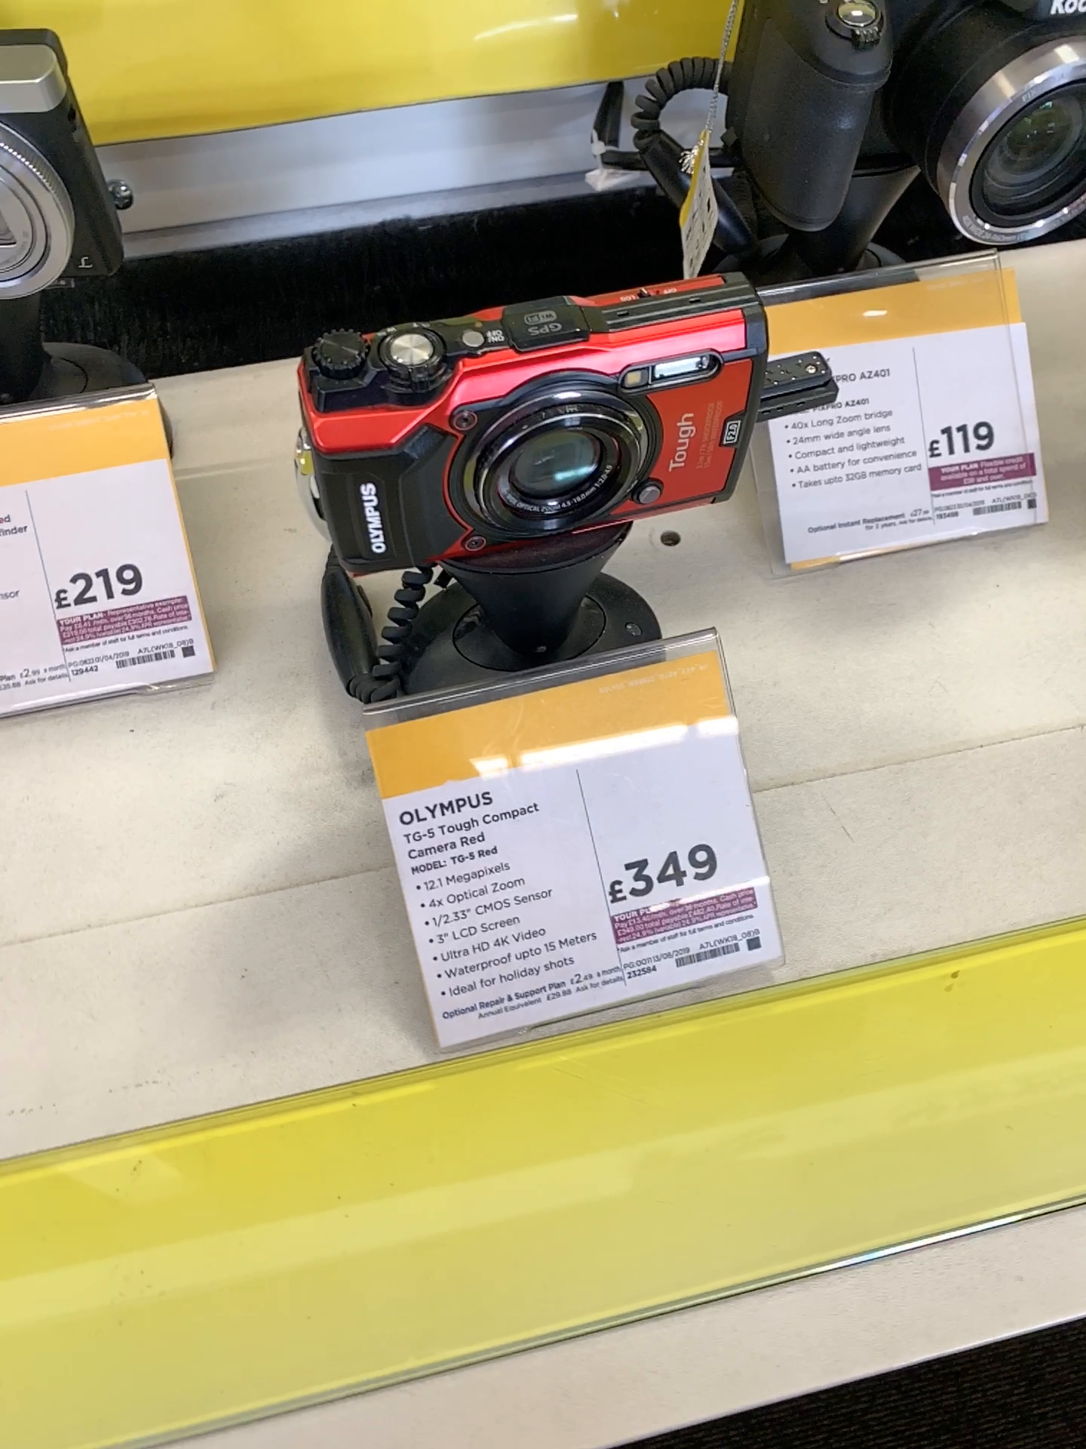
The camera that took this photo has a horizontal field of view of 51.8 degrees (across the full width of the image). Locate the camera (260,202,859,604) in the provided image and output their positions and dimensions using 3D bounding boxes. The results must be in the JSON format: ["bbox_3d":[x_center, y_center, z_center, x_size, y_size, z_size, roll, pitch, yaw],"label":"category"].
[{"bbox_3d":[0.003,-0.074,0.262,0.120,0.060,0.040,-13,62,-8],"label":"camera"}]
